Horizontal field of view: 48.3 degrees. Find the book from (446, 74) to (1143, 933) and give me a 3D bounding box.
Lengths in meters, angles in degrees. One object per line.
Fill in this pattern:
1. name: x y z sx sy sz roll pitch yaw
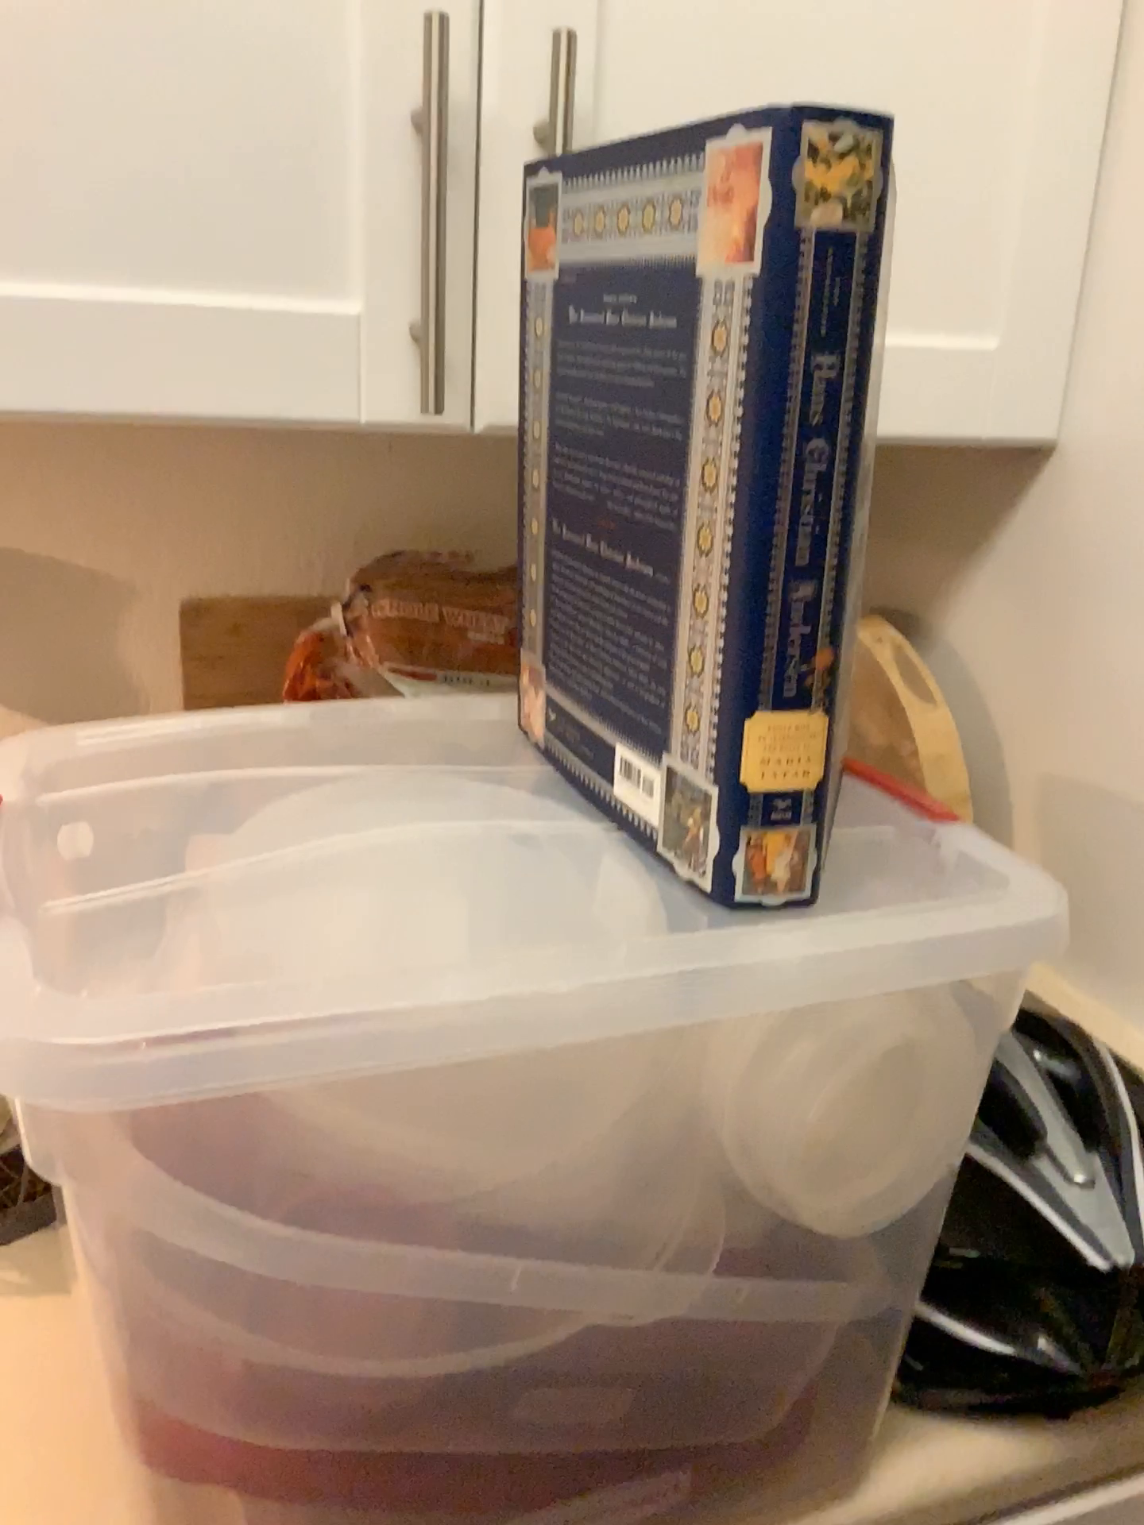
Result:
1. book: 0.064 -0.103 0.526 0.200 0.260 0.250 1 18 -11
